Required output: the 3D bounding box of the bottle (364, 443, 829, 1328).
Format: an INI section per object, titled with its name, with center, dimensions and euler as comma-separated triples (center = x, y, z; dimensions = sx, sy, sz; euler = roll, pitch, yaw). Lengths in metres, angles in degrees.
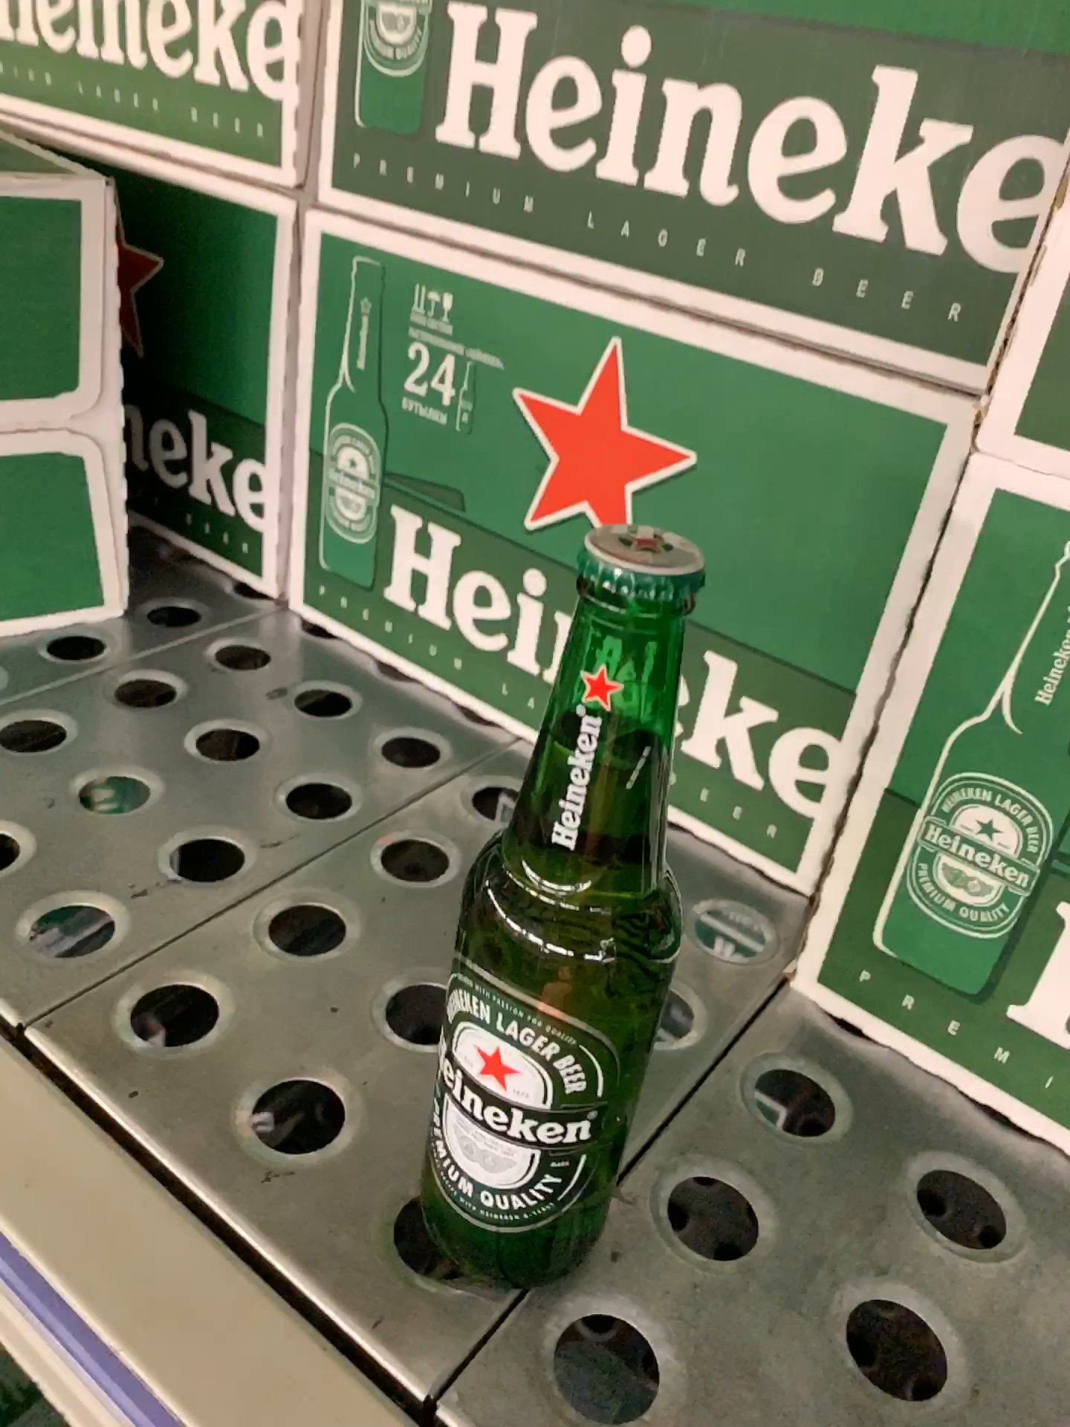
[bottle]
center = 0.006, 0.053, 0.289
dimensions = 0.060, 0.225, 0.060
euler = 7, 30, -4
